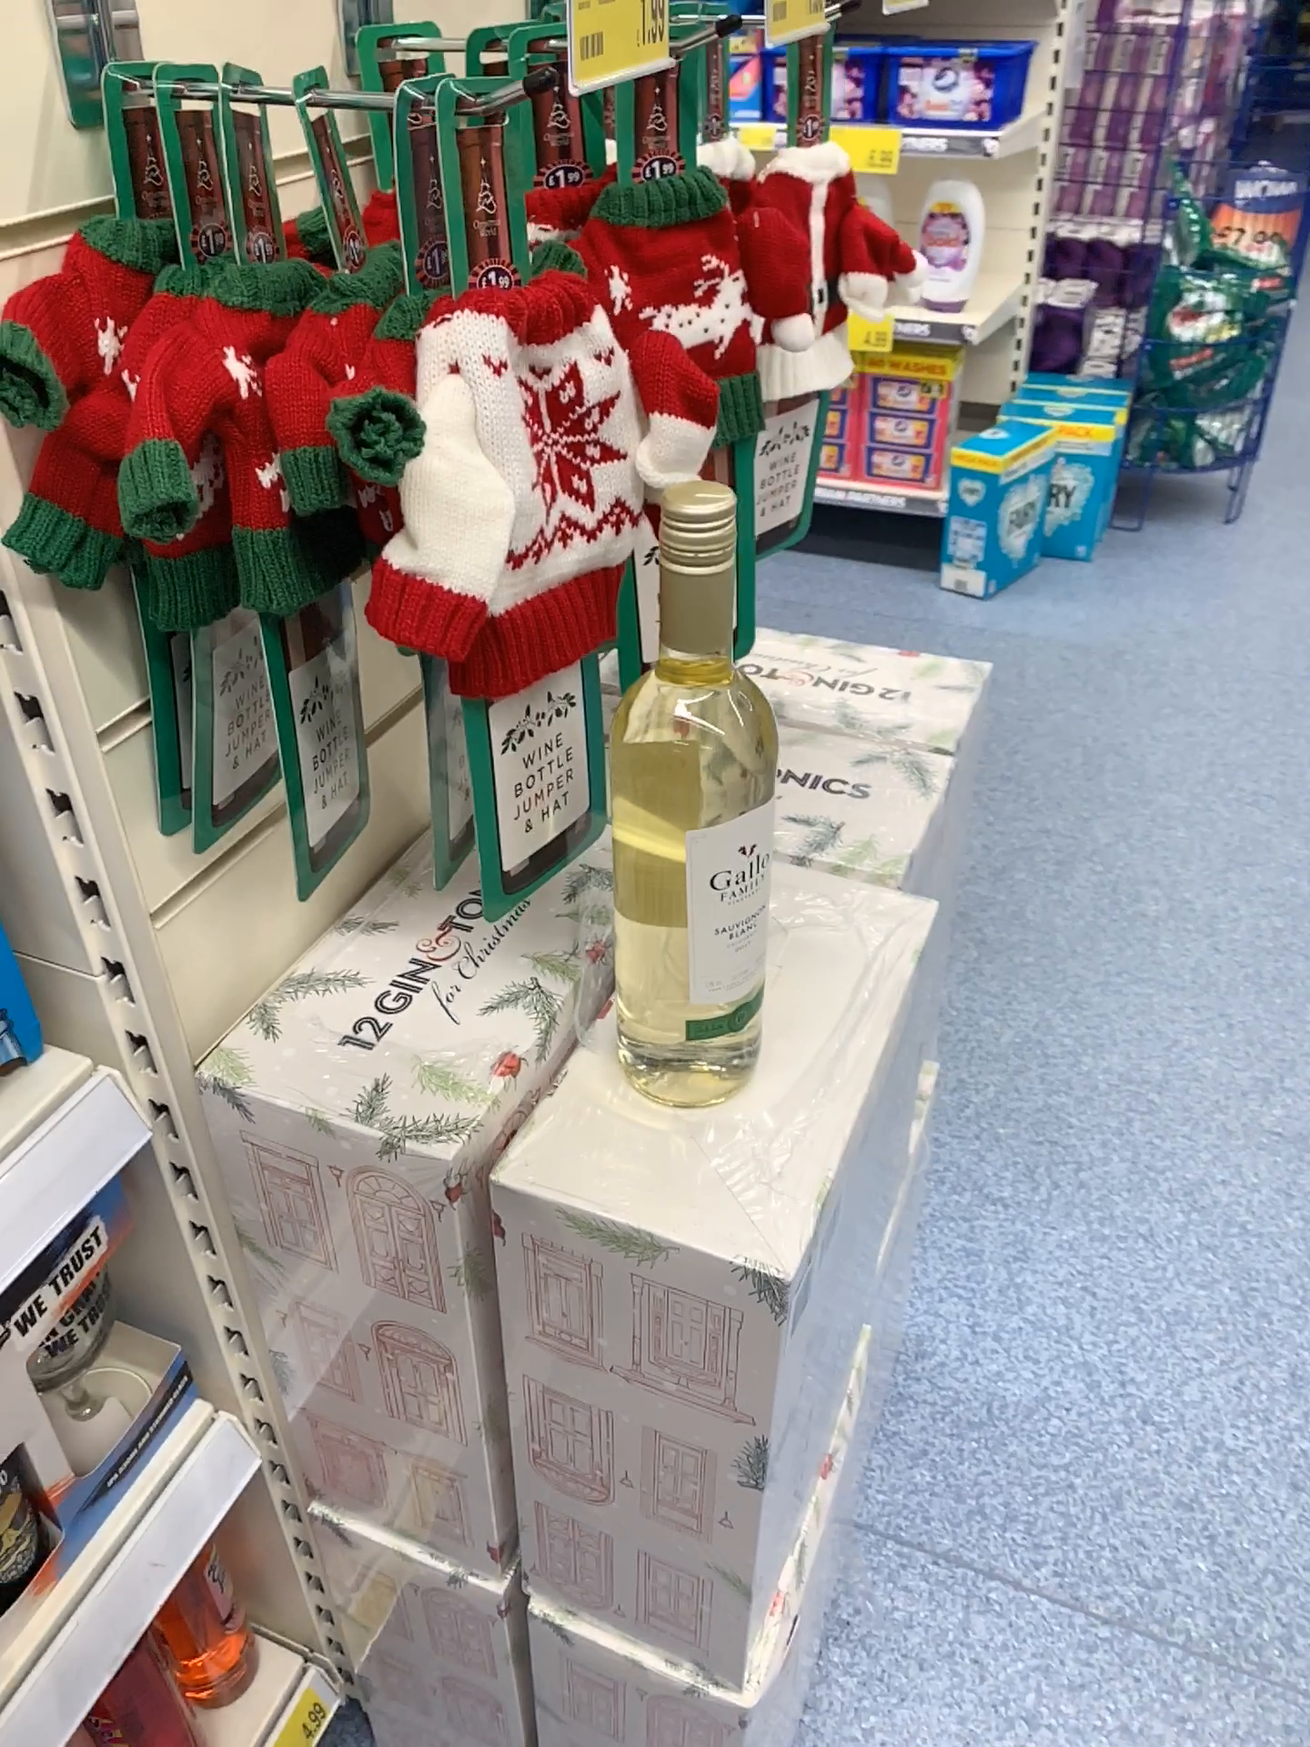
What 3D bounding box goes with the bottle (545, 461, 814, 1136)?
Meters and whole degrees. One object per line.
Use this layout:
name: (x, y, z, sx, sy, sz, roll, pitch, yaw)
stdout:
bottle: (0.012, -0.023, 0.591, 0.073, 0.285, 0.074, -1, 35, 1)
